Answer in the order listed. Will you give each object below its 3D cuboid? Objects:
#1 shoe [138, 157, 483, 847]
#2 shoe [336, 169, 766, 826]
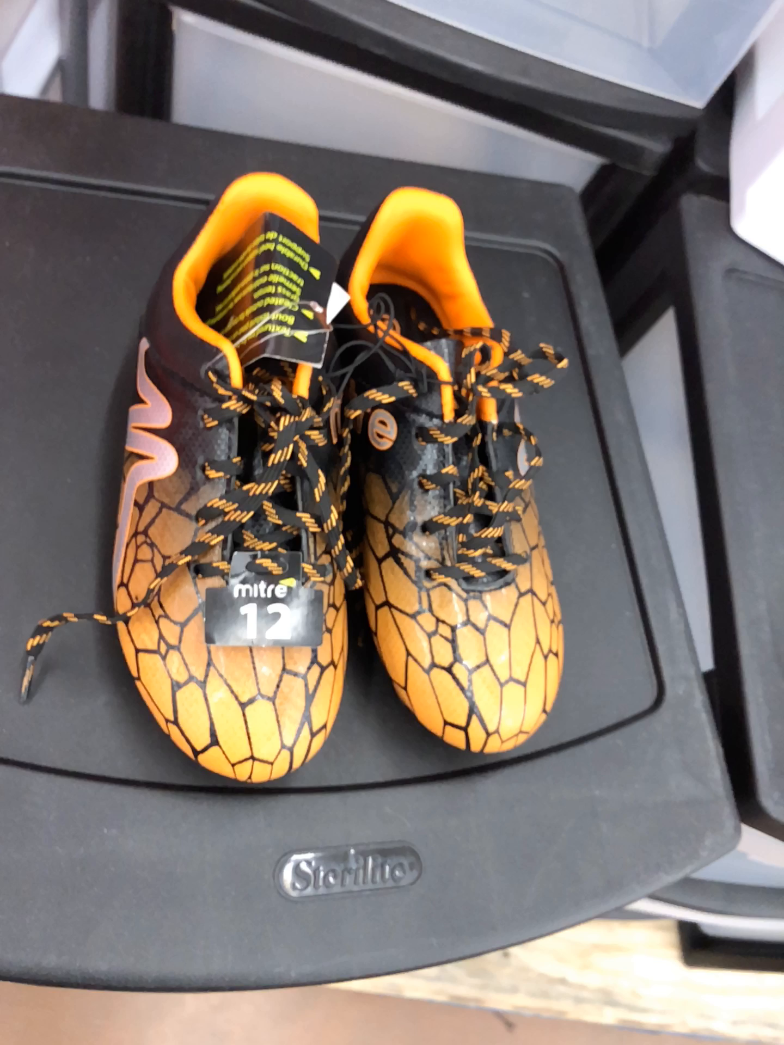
[{"bbox_3d":[-0.038,-0.008,0.288,0.080,0.080,0.200,0,66,-18],"label":"shoe"},{"bbox_3d":[0.040,-0.011,0.296,0.080,0.070,0.200,-1,67,-19],"label":"shoe"}]
